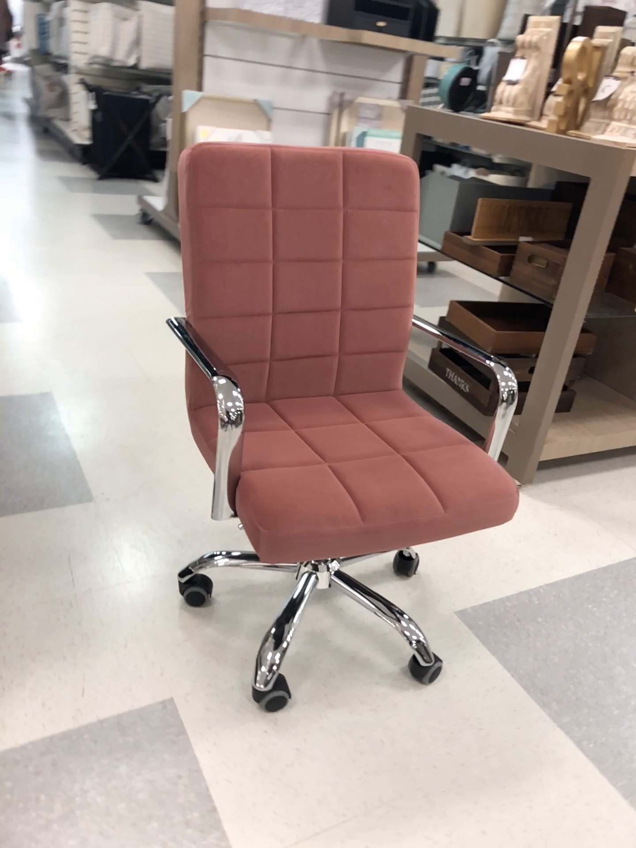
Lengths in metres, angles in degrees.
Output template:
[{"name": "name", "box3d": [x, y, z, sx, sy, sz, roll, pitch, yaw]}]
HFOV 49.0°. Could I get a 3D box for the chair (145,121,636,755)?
[{"name": "chair", "box3d": [0.050, -0.020, 1.238, 0.565, 0.842, 0.571, -6, 30, -26]}]
